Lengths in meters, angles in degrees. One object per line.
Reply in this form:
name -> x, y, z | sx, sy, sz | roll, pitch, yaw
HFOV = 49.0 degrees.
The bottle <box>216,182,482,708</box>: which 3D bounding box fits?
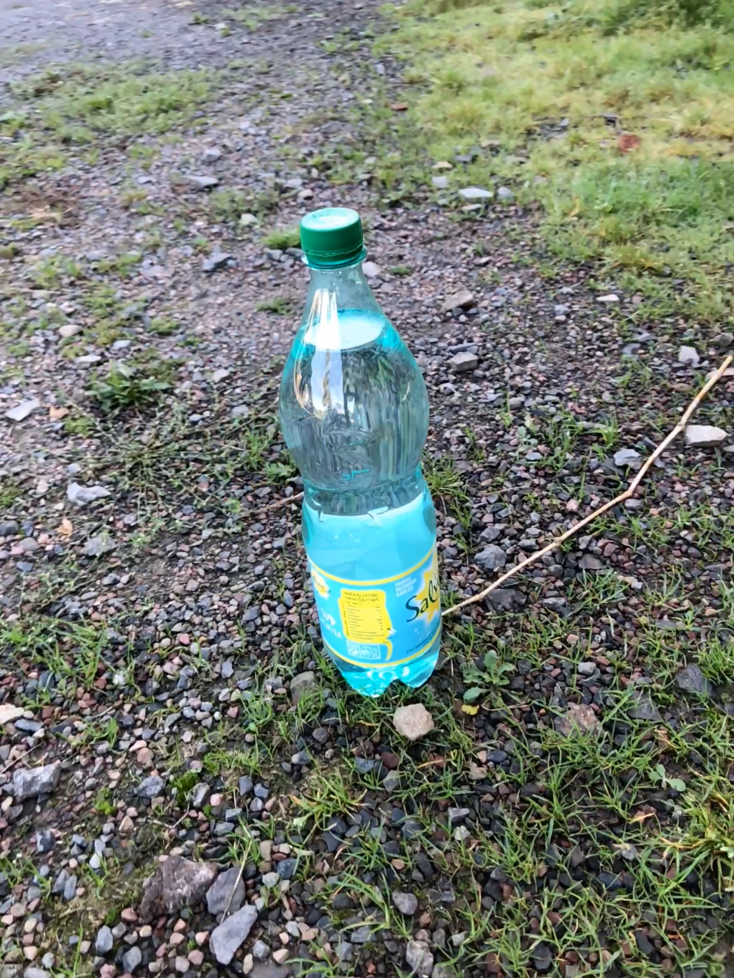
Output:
bottle -> 0.007, -0.012, 0.471 | 0.100, 0.298, 0.091 | 6, 38, 16
